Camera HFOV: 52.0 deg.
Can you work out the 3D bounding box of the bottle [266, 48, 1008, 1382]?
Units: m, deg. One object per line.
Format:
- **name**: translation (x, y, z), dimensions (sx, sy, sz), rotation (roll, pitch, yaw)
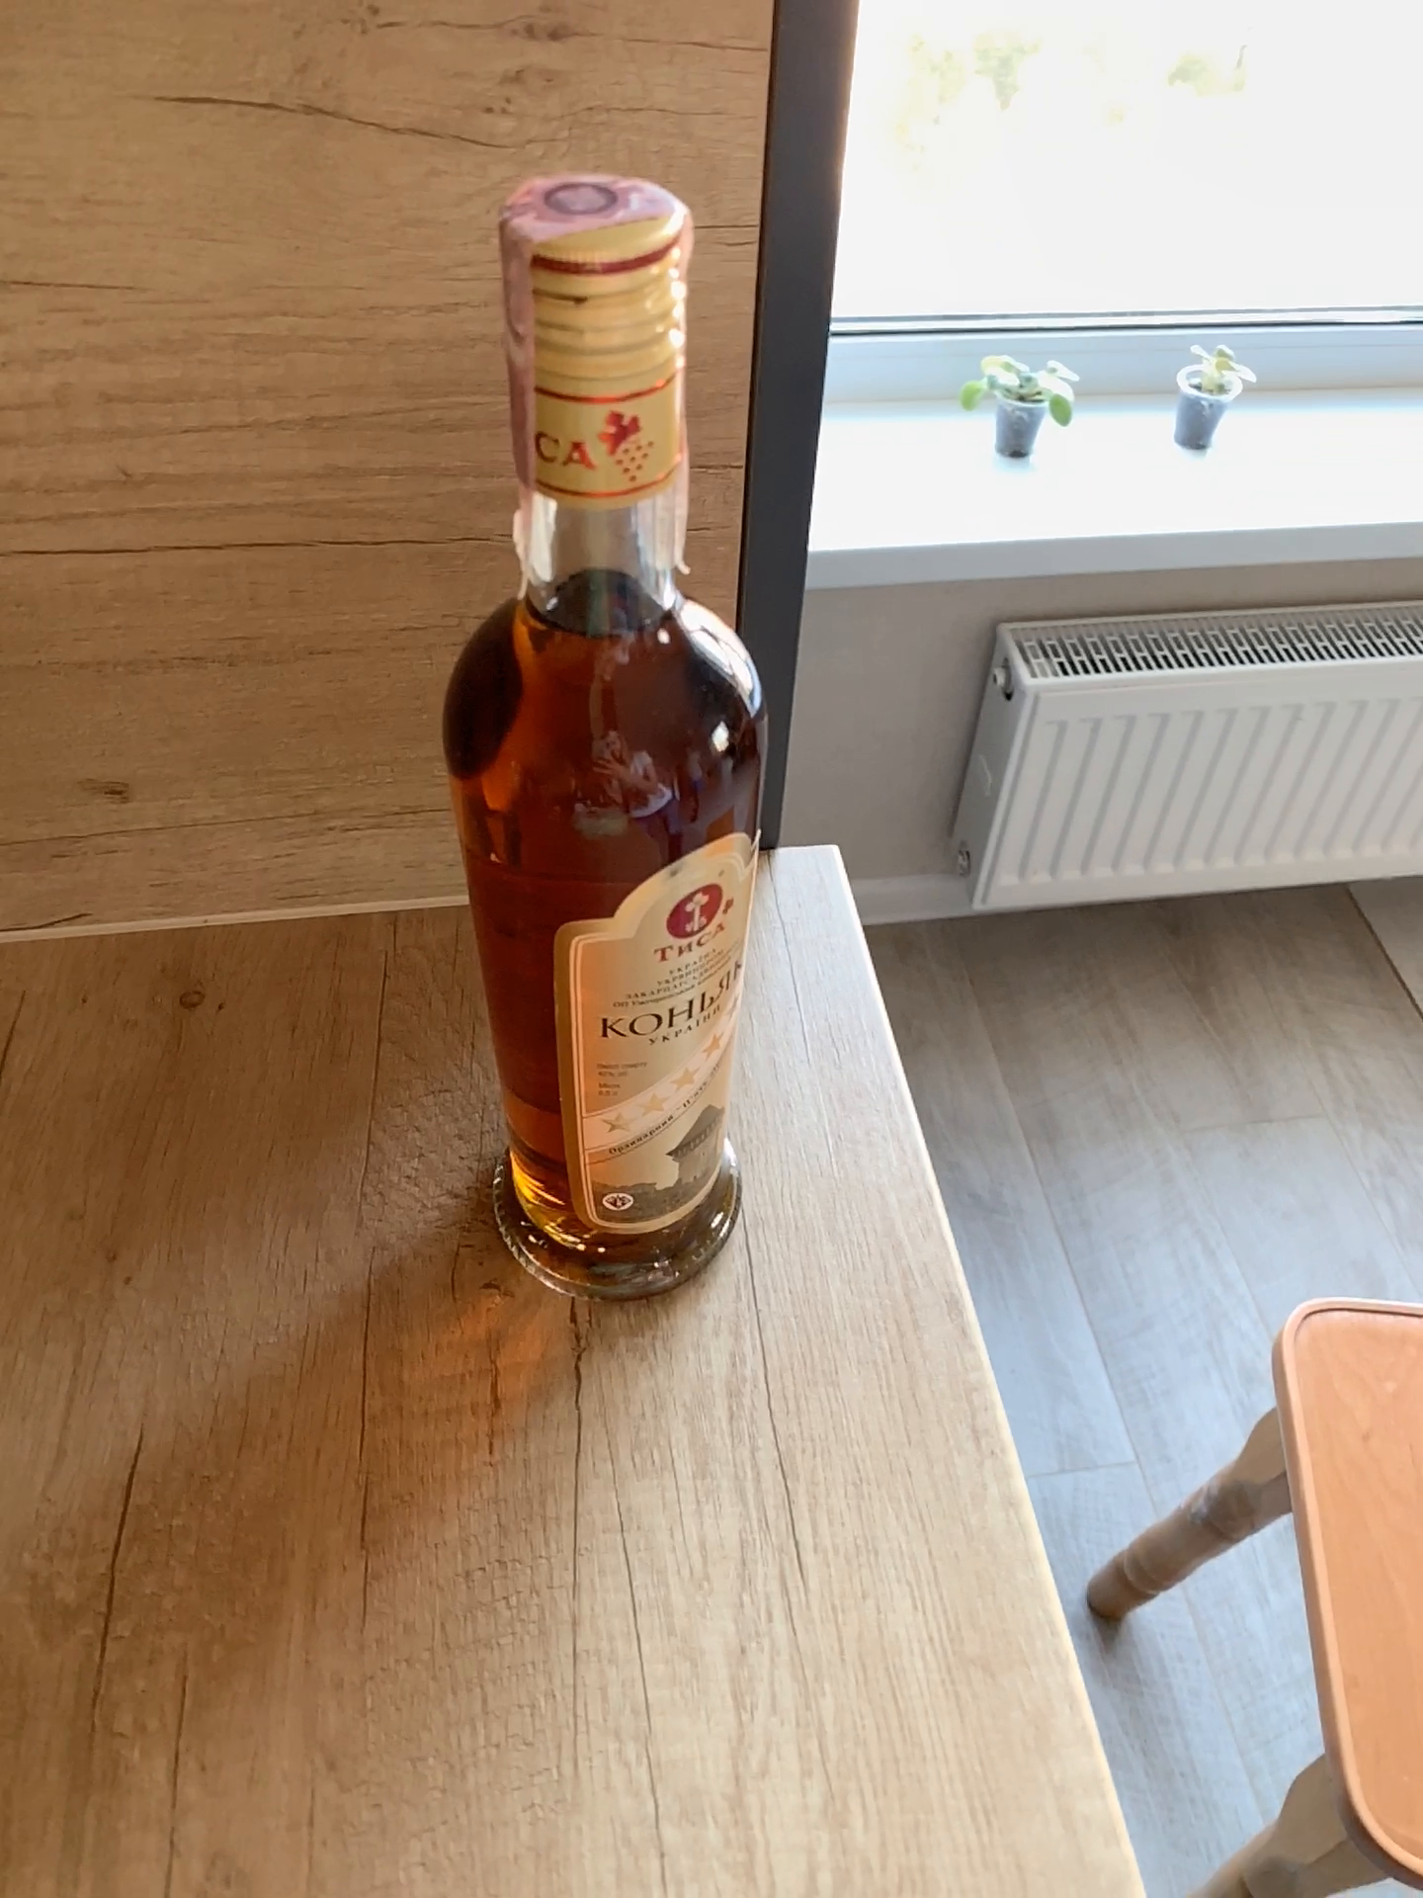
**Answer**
- **bottle**: translation (-0.017, -0.018, 0.312), dimensions (0.080, 0.279, 0.070), rotation (-27, 55, -24)
